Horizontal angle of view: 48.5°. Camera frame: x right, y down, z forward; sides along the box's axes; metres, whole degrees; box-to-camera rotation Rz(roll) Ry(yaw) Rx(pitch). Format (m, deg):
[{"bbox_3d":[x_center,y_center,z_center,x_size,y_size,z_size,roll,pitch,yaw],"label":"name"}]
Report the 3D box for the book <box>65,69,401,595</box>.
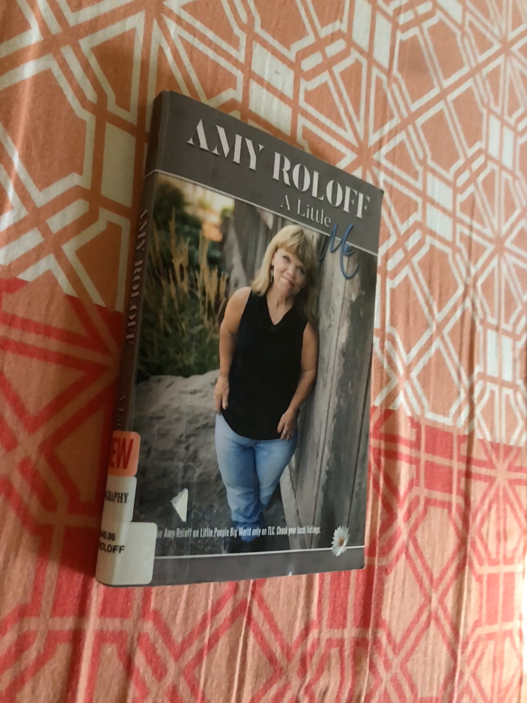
[{"bbox_3d":[-0.001,-0.001,0.294,0.159,0.030,0.215,11,81,-37],"label":"book"}]
